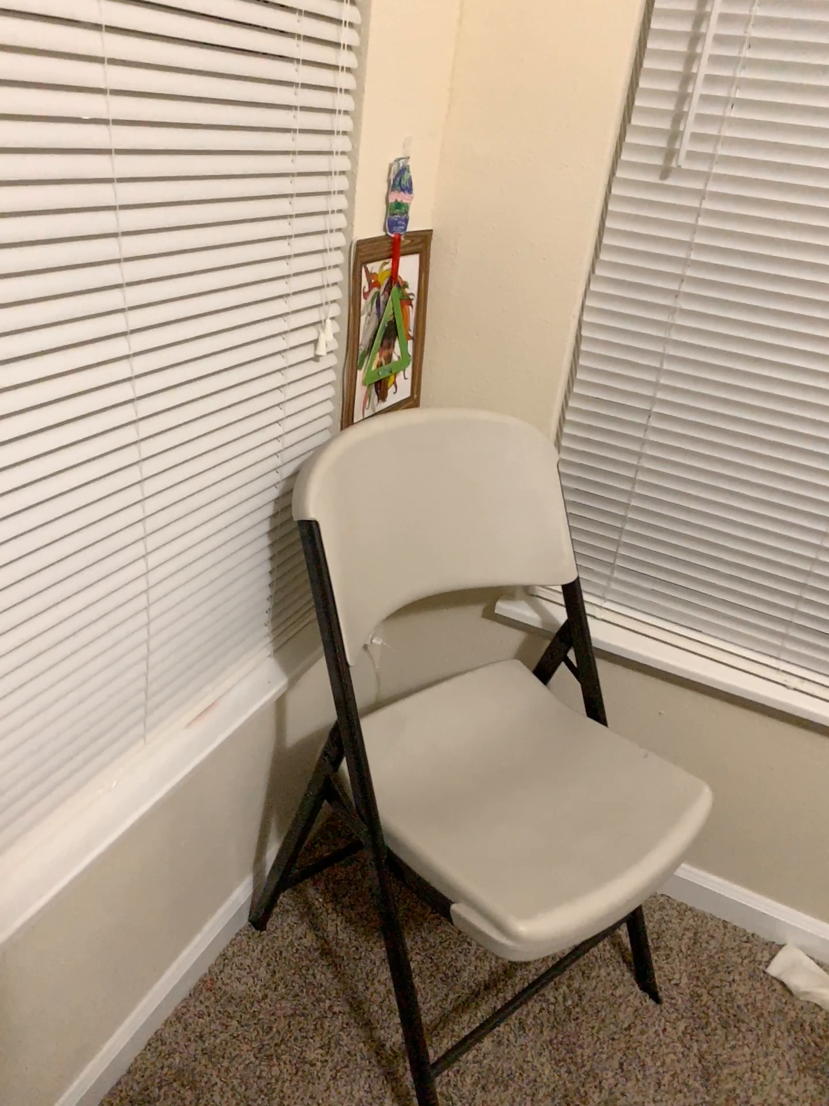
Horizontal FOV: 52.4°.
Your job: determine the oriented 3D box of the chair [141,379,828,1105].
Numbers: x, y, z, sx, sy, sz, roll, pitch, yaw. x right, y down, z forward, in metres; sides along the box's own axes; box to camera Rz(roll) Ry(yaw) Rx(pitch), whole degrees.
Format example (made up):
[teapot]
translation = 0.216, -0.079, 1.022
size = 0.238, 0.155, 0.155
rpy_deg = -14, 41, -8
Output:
[chair]
translation = 0.058, 0.269, 1.210
size = 0.611, 0.816, 0.682
rpy_deg = -15, 34, -39
